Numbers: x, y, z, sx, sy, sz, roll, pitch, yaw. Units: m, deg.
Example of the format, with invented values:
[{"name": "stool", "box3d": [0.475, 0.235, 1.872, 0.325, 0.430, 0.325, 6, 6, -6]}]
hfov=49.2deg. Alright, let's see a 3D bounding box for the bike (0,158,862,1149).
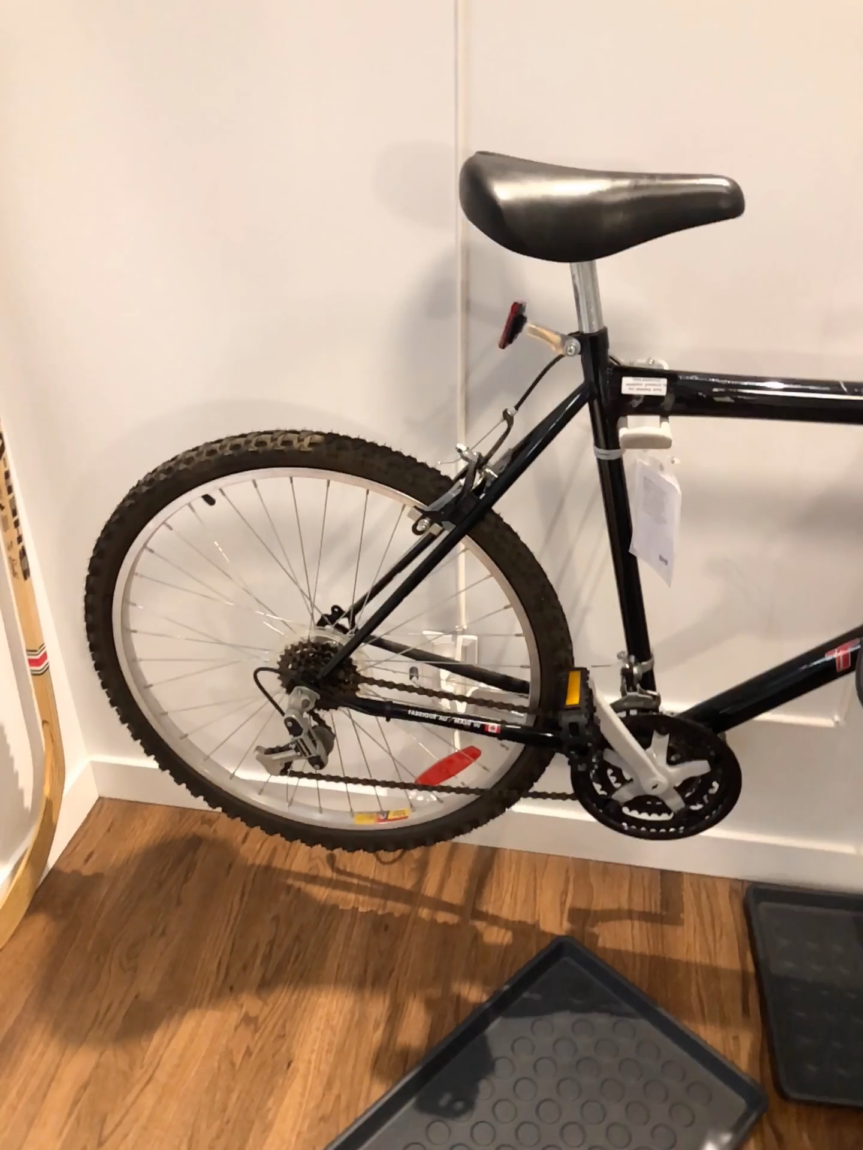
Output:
[{"name": "bike", "box3d": [0.319, 0.143, 1.071, 1.567, 0.845, 0.560, 13, 32, 13]}]
